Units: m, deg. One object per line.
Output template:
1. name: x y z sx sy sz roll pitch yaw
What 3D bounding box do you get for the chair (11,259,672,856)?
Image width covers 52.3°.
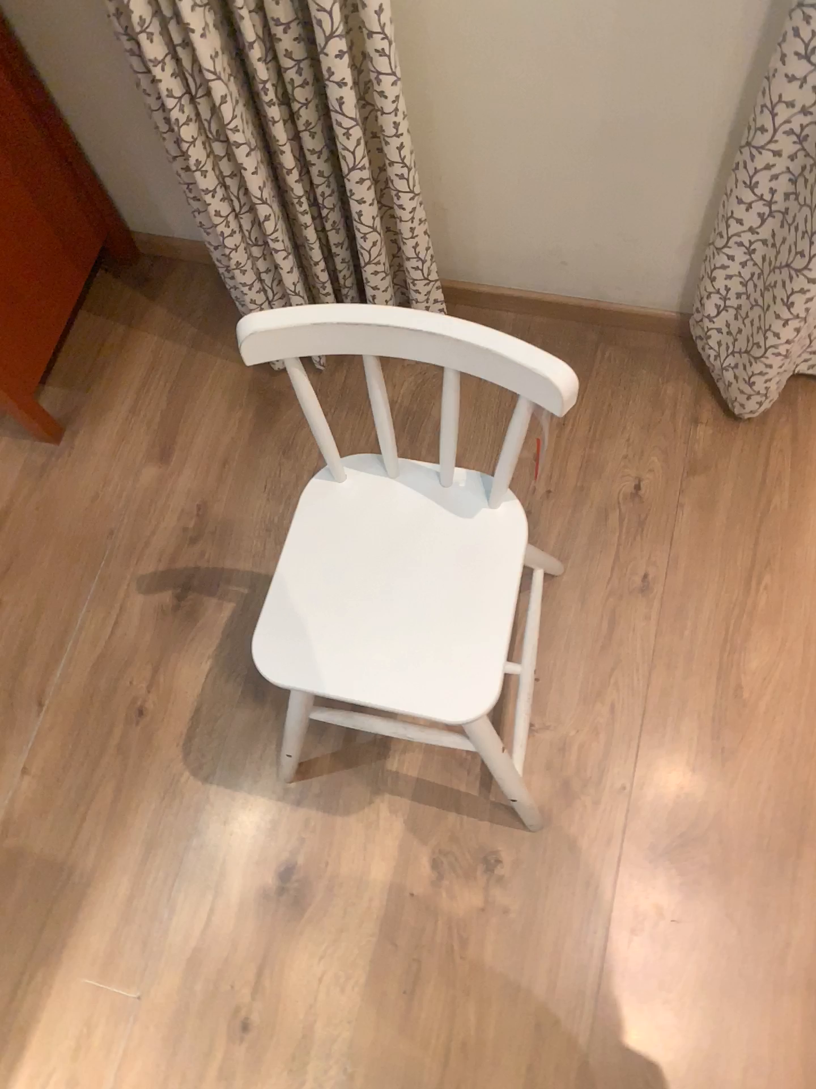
1. chair: -0.006 0.083 0.967 0.450 0.649 0.430 9 70 10
